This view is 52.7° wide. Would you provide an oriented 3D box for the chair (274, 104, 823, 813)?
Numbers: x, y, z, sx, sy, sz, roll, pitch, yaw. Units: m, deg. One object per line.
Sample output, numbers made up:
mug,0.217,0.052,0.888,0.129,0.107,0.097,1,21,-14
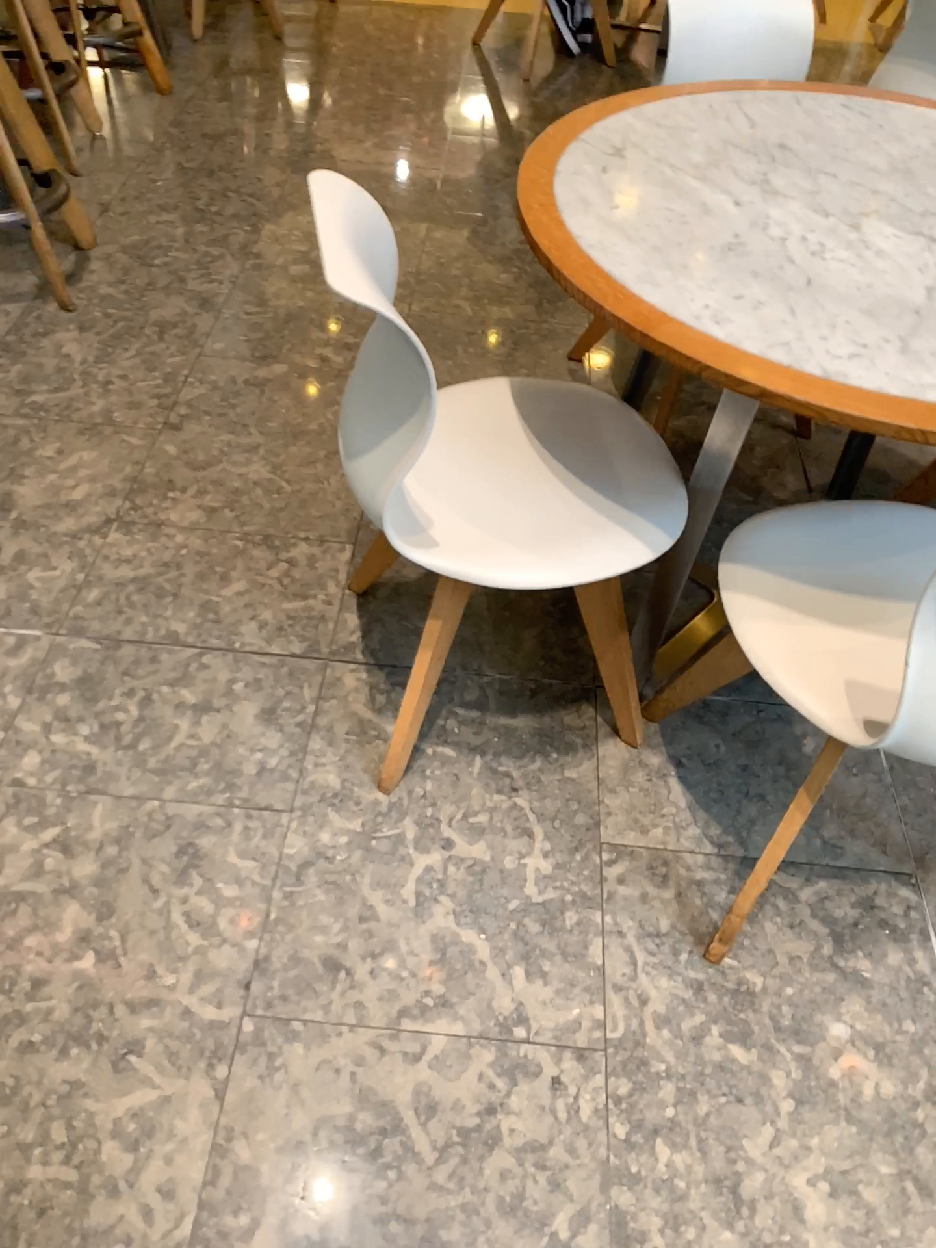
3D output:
chair,0.034,-0.209,1.444,0.540,0.912,0.504,-6,48,-10
